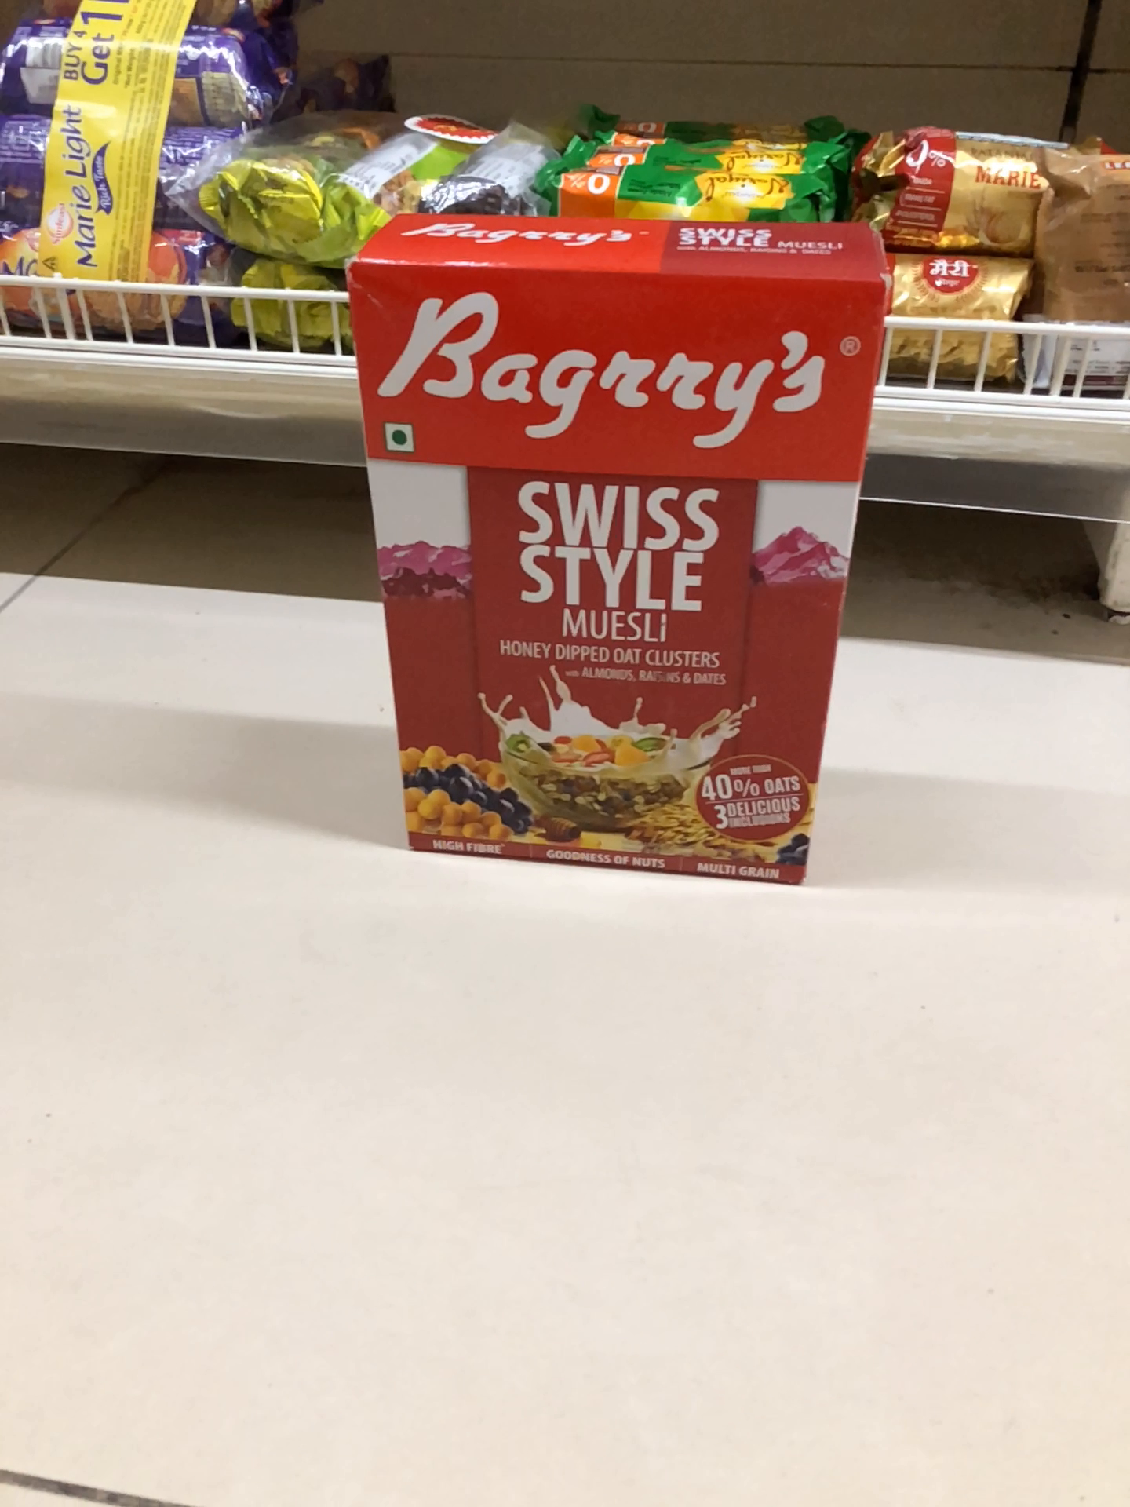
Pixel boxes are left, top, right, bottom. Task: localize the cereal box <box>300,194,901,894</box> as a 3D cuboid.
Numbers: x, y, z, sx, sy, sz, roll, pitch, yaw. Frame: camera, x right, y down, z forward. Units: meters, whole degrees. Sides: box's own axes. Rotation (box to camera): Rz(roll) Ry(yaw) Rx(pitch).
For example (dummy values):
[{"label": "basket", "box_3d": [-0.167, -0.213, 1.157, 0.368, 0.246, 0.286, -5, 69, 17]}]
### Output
[{"label": "cereal box", "box_3d": [0.014, -0.072, 0.488, 0.190, 0.258, 0.060, 5, 35, 7]}]
